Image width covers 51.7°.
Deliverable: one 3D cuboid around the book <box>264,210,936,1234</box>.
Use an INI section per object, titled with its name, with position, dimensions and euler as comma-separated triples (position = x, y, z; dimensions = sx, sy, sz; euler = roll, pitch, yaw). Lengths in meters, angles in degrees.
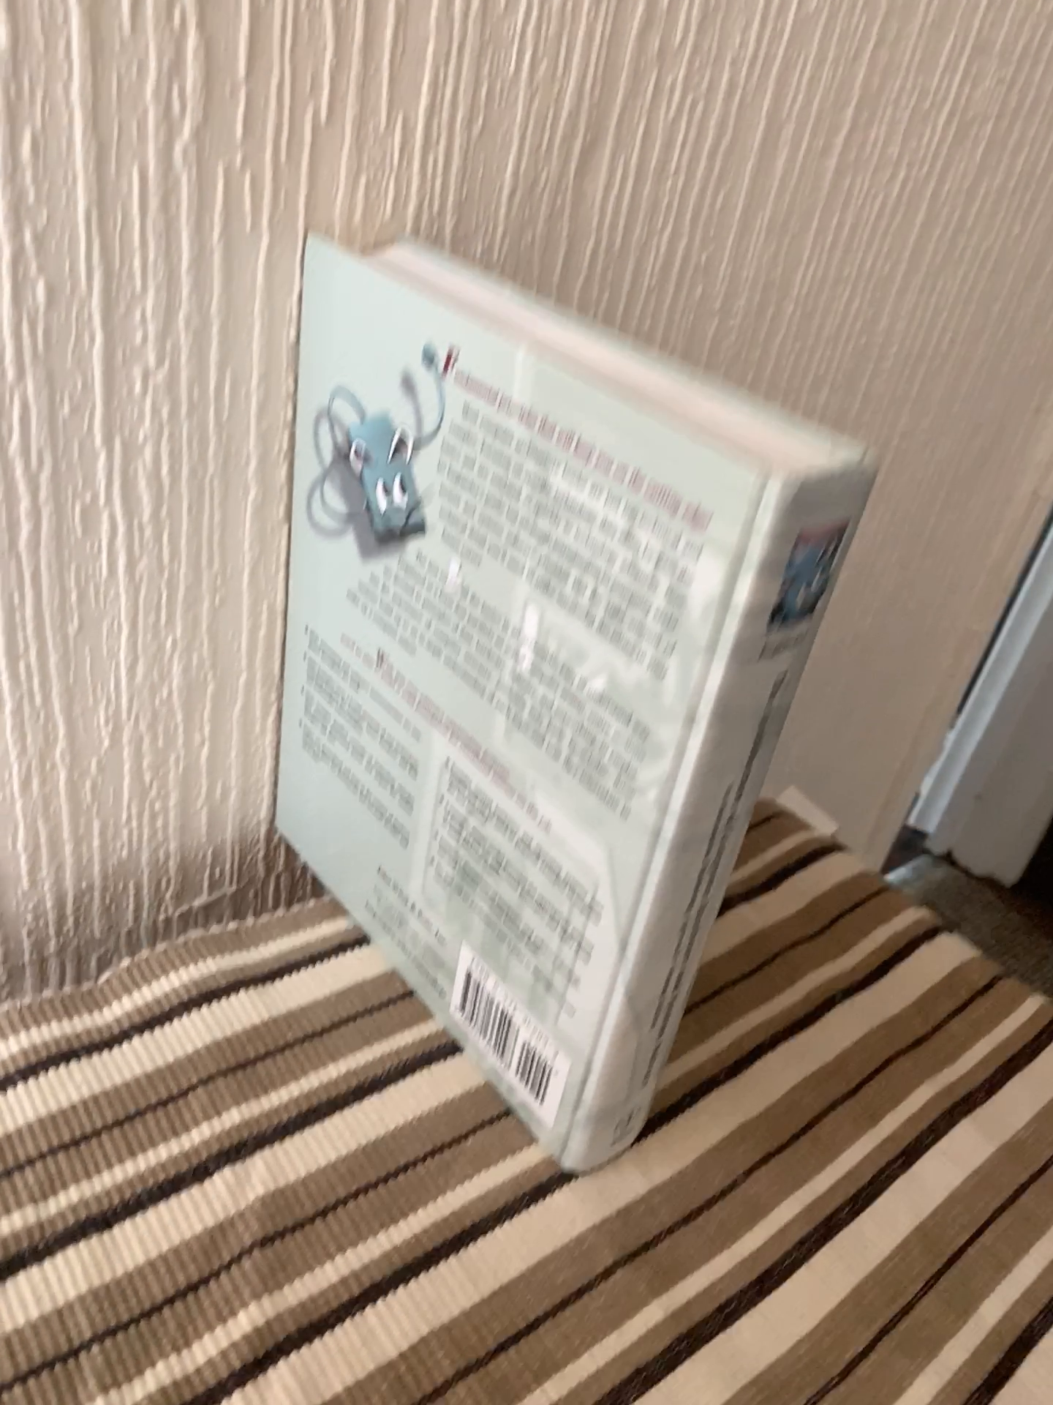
[book]
position = -0.014, 0.005, 0.353
dimensions = 0.040, 0.257, 0.211
euler = -17, 43, -36
